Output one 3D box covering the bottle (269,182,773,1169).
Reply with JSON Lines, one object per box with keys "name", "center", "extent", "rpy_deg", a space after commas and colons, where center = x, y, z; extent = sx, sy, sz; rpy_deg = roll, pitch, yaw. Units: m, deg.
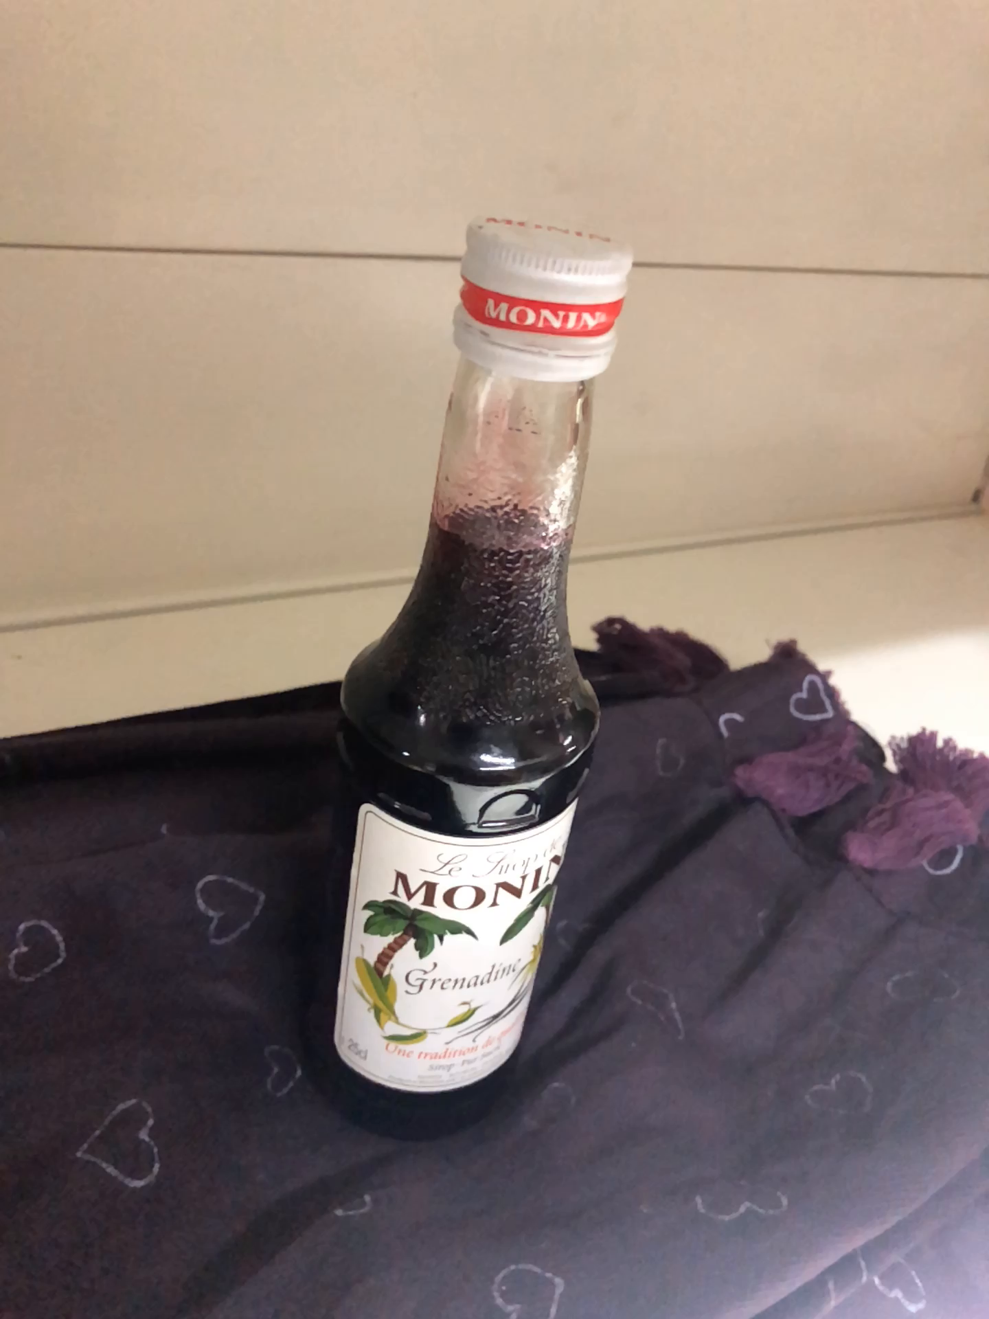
{"name": "bottle", "center": [-0.007, 0.011, 0.238], "extent": [0.060, 0.199, 0.060], "rpy_deg": [7, 30, -4]}
